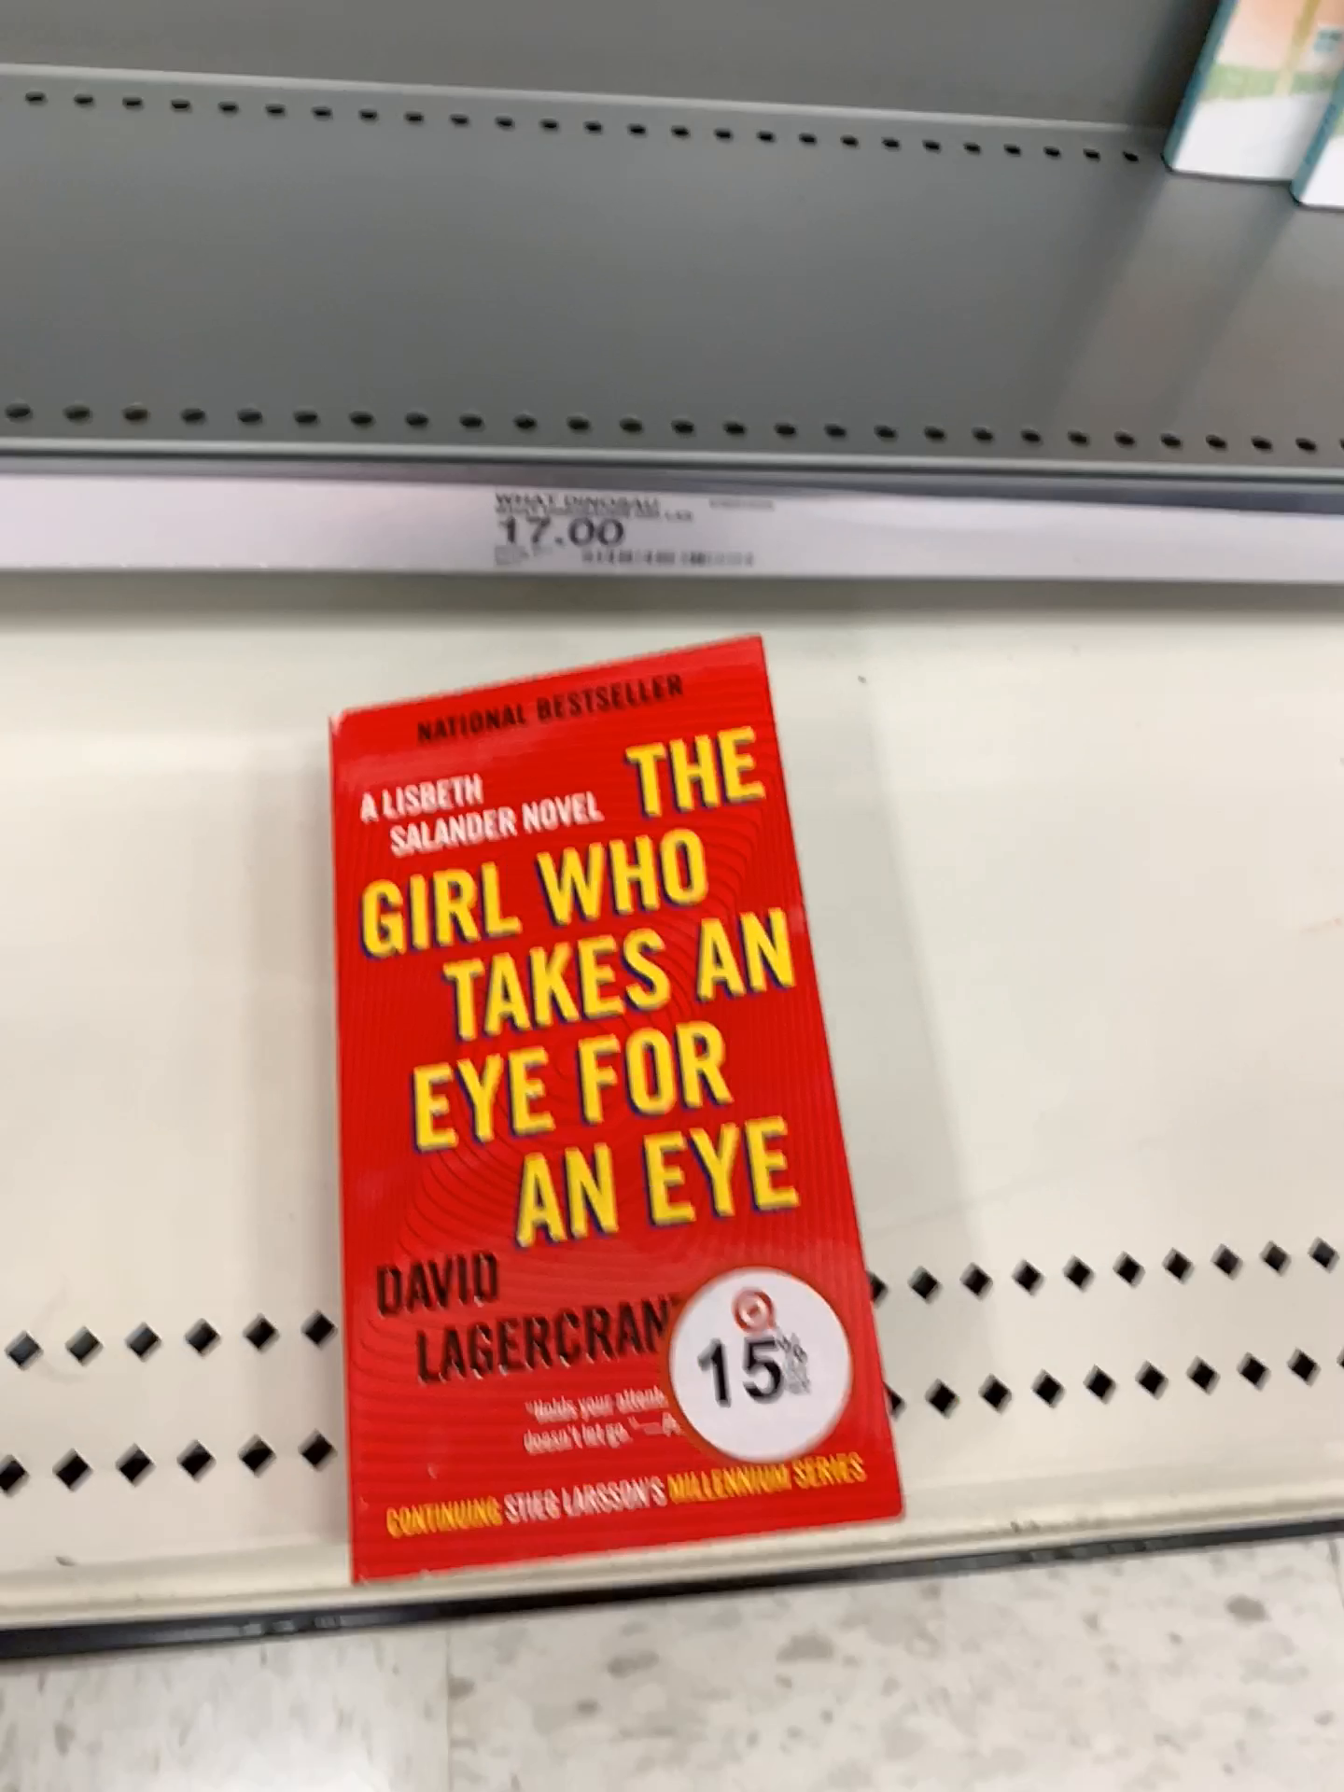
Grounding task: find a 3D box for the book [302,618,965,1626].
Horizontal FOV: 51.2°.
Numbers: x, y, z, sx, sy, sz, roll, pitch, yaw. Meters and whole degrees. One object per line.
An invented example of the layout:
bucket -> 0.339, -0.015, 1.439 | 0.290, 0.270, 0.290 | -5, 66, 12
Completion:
book -> -0.017, 0.039, 0.308 | 0.115, 0.046, 0.200 | -4, 68, -8
